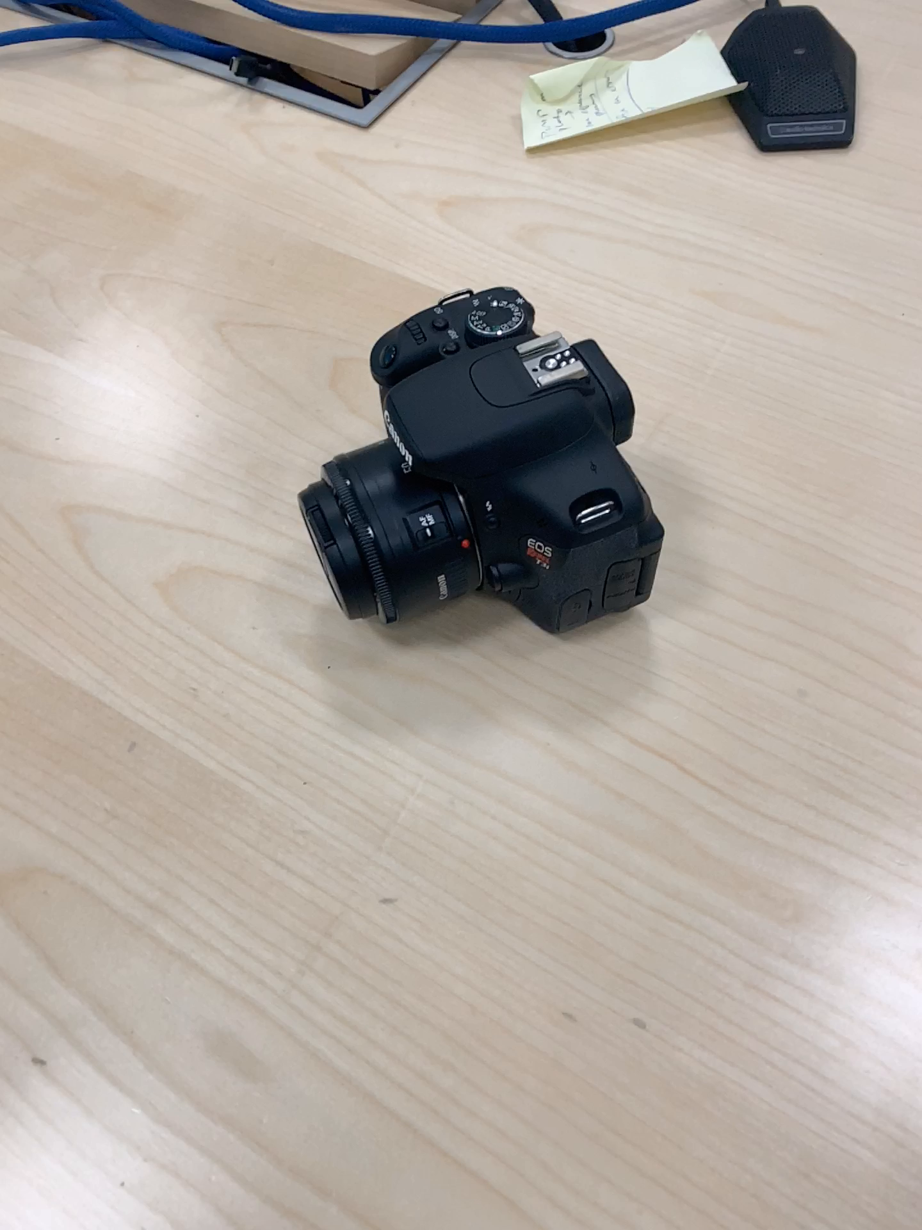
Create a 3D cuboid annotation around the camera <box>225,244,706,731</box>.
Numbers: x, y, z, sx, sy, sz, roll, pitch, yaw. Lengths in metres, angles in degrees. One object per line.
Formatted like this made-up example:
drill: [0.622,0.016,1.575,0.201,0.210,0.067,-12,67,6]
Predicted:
camera: [-0.001,-0.051,0.372,0.127,0.085,0.130,-24,61,-10]
